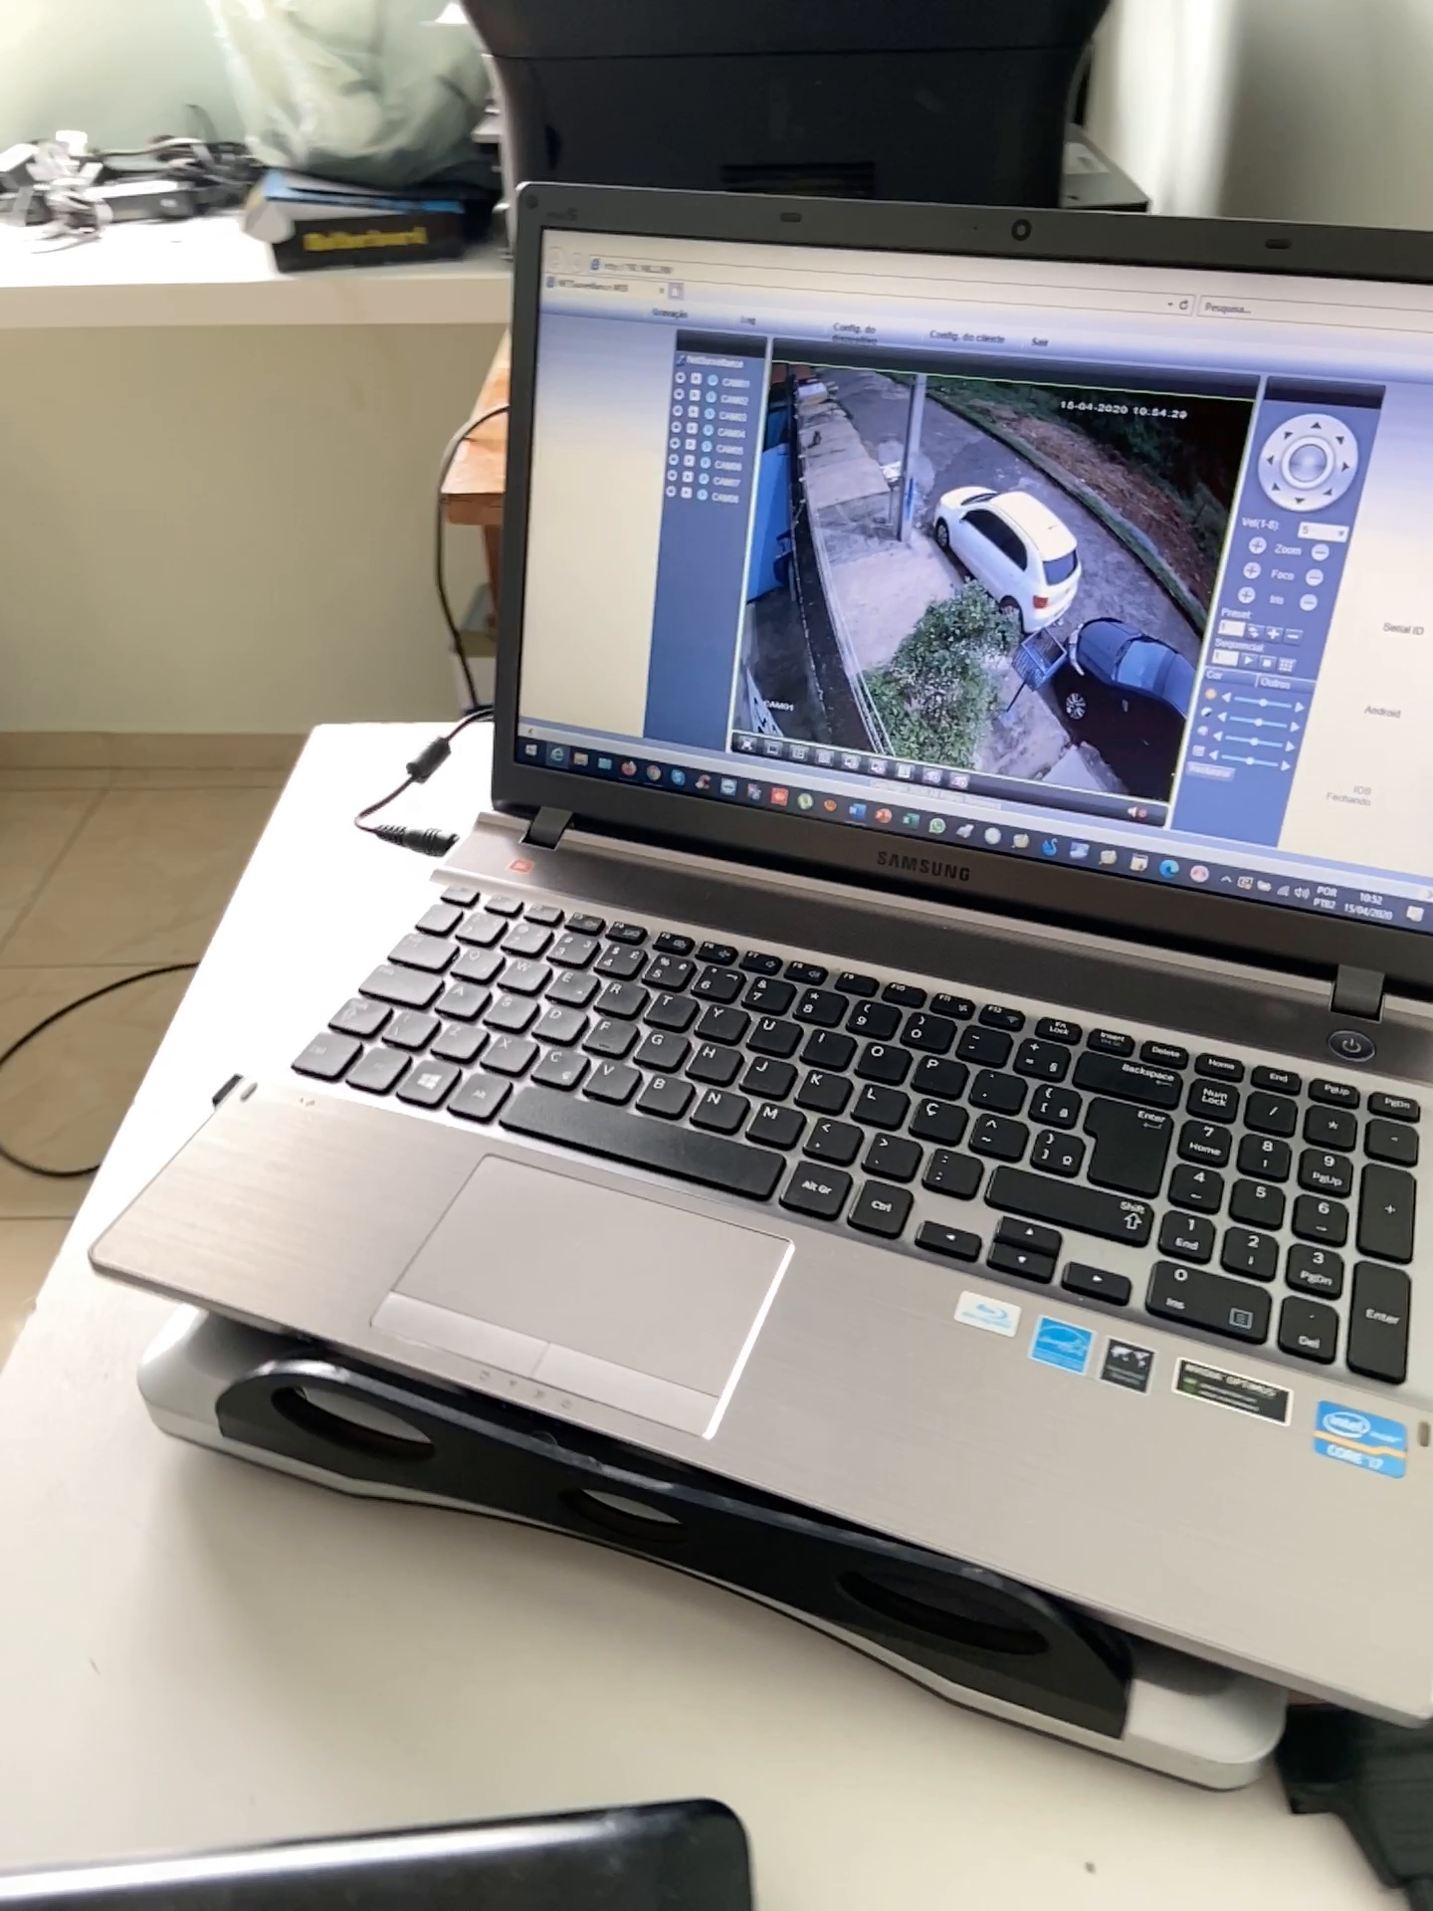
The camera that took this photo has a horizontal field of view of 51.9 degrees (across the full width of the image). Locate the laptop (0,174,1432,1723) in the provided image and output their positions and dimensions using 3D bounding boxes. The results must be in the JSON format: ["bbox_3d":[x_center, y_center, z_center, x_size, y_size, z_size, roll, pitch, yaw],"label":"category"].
[{"bbox_3d":[0.045,-0.061,0.427,0.367,0.213,0.337,12,42,19],"label":"laptop"}]
